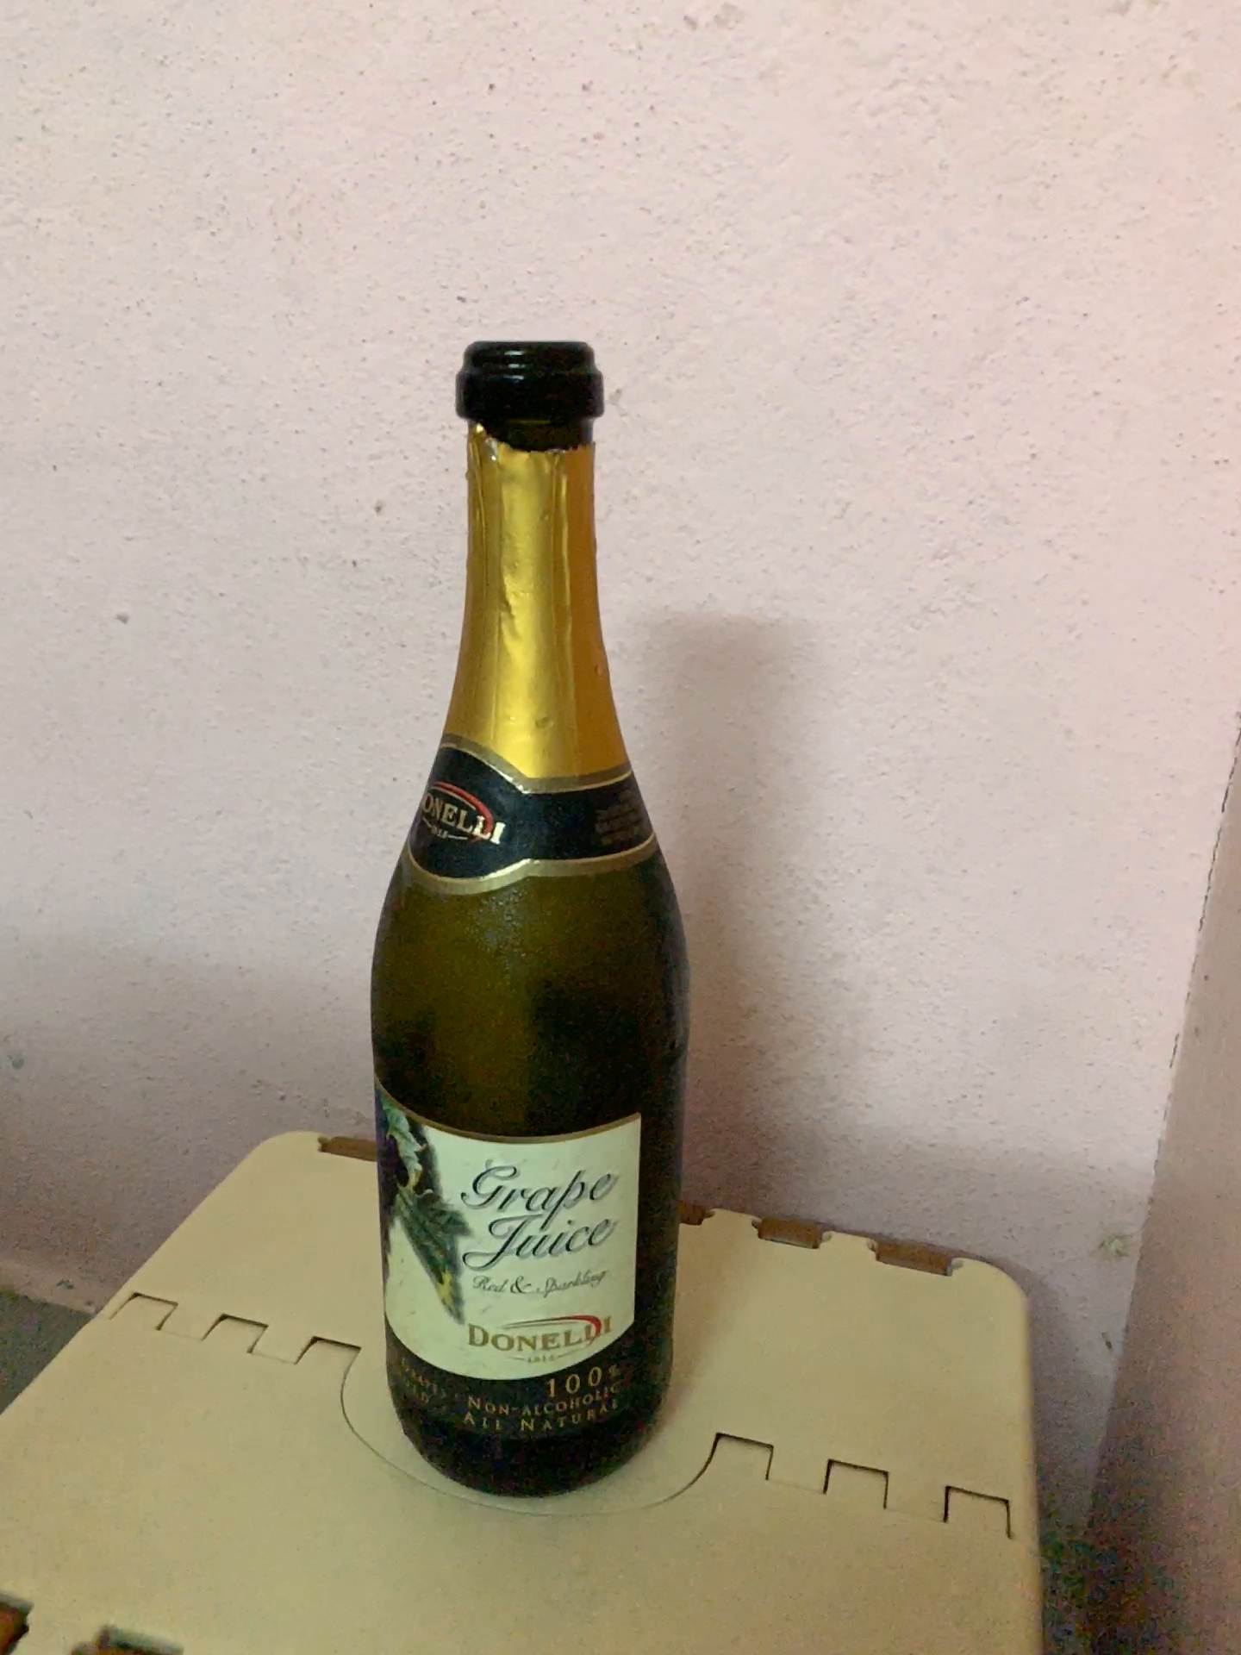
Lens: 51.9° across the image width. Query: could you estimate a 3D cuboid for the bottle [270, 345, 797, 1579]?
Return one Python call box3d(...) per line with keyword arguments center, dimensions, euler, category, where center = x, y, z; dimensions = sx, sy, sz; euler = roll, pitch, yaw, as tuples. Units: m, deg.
box3d(center=(-0.024, 0.031, 0.316), dimensions=(0.070, 0.279, 0.090), euler=(-16, 26, -40), category="bottle")
